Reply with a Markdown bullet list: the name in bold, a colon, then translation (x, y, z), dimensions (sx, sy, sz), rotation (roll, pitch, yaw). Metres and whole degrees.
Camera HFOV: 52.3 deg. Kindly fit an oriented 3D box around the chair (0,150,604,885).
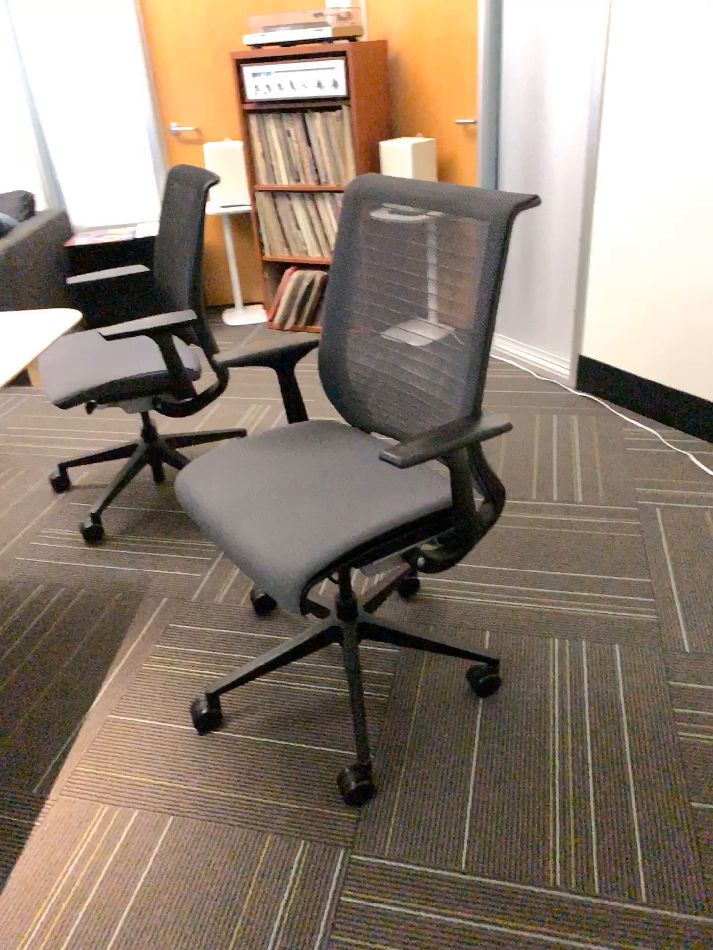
- **chair**: translation (-0.110, -0.010, 1.545), dimensions (0.801, 1.113, 0.794), rotation (-26, 36, -31)
